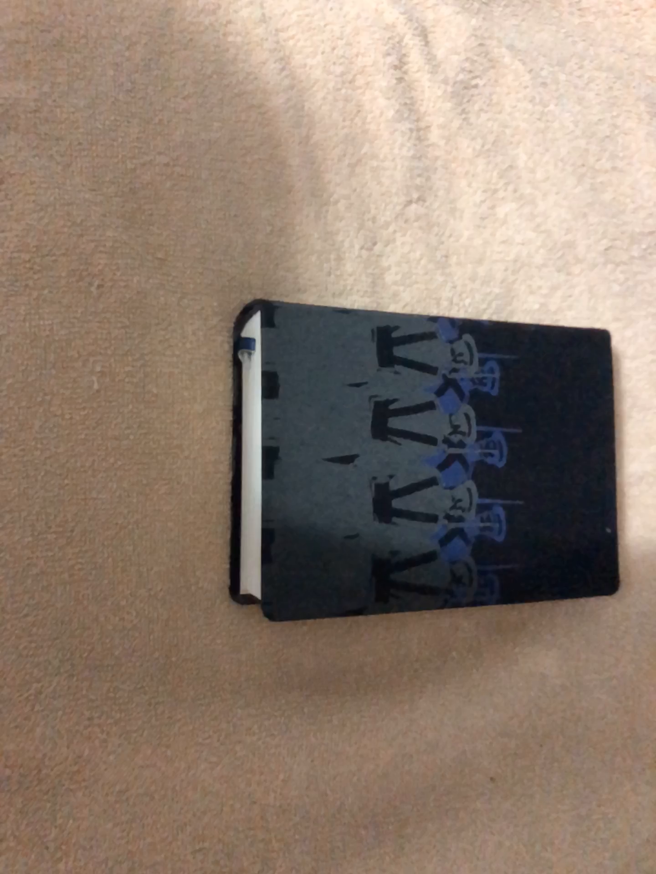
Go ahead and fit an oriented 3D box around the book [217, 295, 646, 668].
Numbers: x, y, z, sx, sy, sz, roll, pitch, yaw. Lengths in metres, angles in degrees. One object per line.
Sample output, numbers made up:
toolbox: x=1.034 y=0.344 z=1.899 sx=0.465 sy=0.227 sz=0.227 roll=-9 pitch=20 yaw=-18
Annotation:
book: x=0.049 y=0.019 z=0.333 sx=0.191 sy=0.050 sz=0.140 roll=1 pitch=85 yaw=-21
